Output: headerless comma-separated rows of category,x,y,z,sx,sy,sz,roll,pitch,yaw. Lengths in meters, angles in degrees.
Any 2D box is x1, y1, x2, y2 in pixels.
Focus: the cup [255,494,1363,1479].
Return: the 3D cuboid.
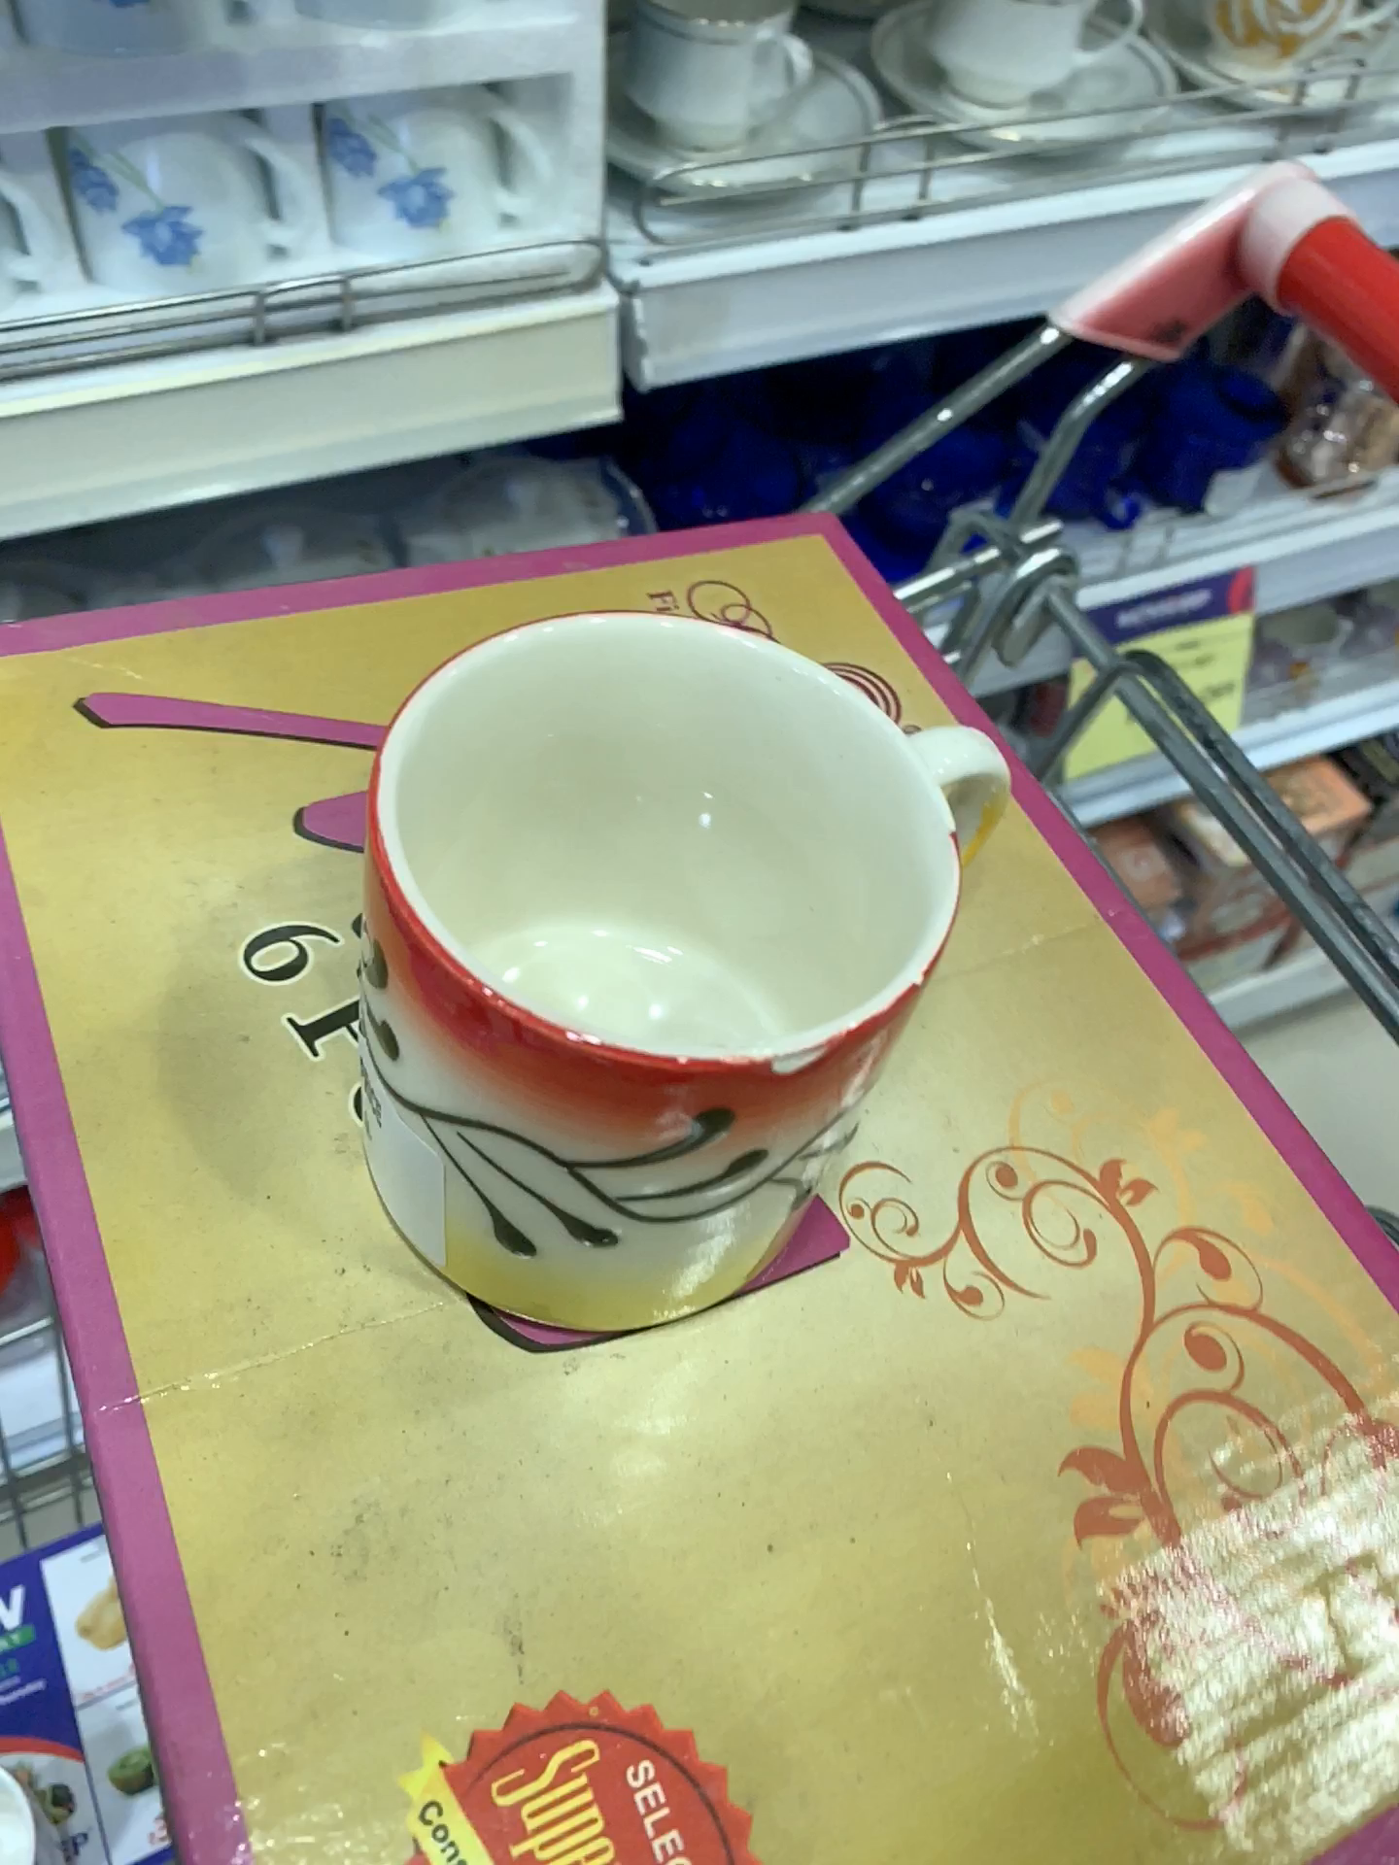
cup,0.009,0.001,0.199,0.110,0.070,0.080,-19,58,-27
